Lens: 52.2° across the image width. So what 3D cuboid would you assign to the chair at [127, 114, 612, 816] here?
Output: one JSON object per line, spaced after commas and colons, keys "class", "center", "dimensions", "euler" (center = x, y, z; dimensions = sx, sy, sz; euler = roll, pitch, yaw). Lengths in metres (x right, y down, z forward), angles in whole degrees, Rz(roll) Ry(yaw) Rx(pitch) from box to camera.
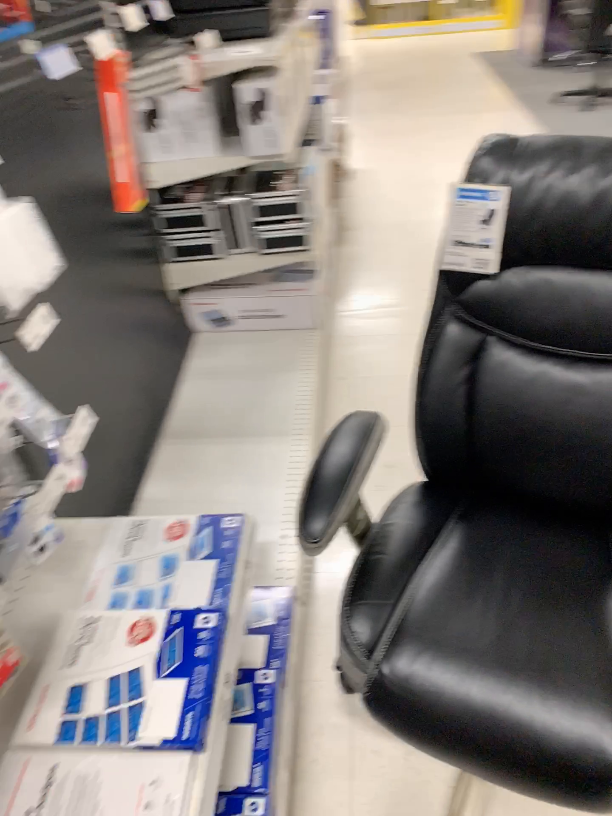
{"class": "chair", "center": [0.364, 0.203, 1.035], "dimensions": [0.741, 1.094, 0.743], "euler": [12, 41, 21]}
